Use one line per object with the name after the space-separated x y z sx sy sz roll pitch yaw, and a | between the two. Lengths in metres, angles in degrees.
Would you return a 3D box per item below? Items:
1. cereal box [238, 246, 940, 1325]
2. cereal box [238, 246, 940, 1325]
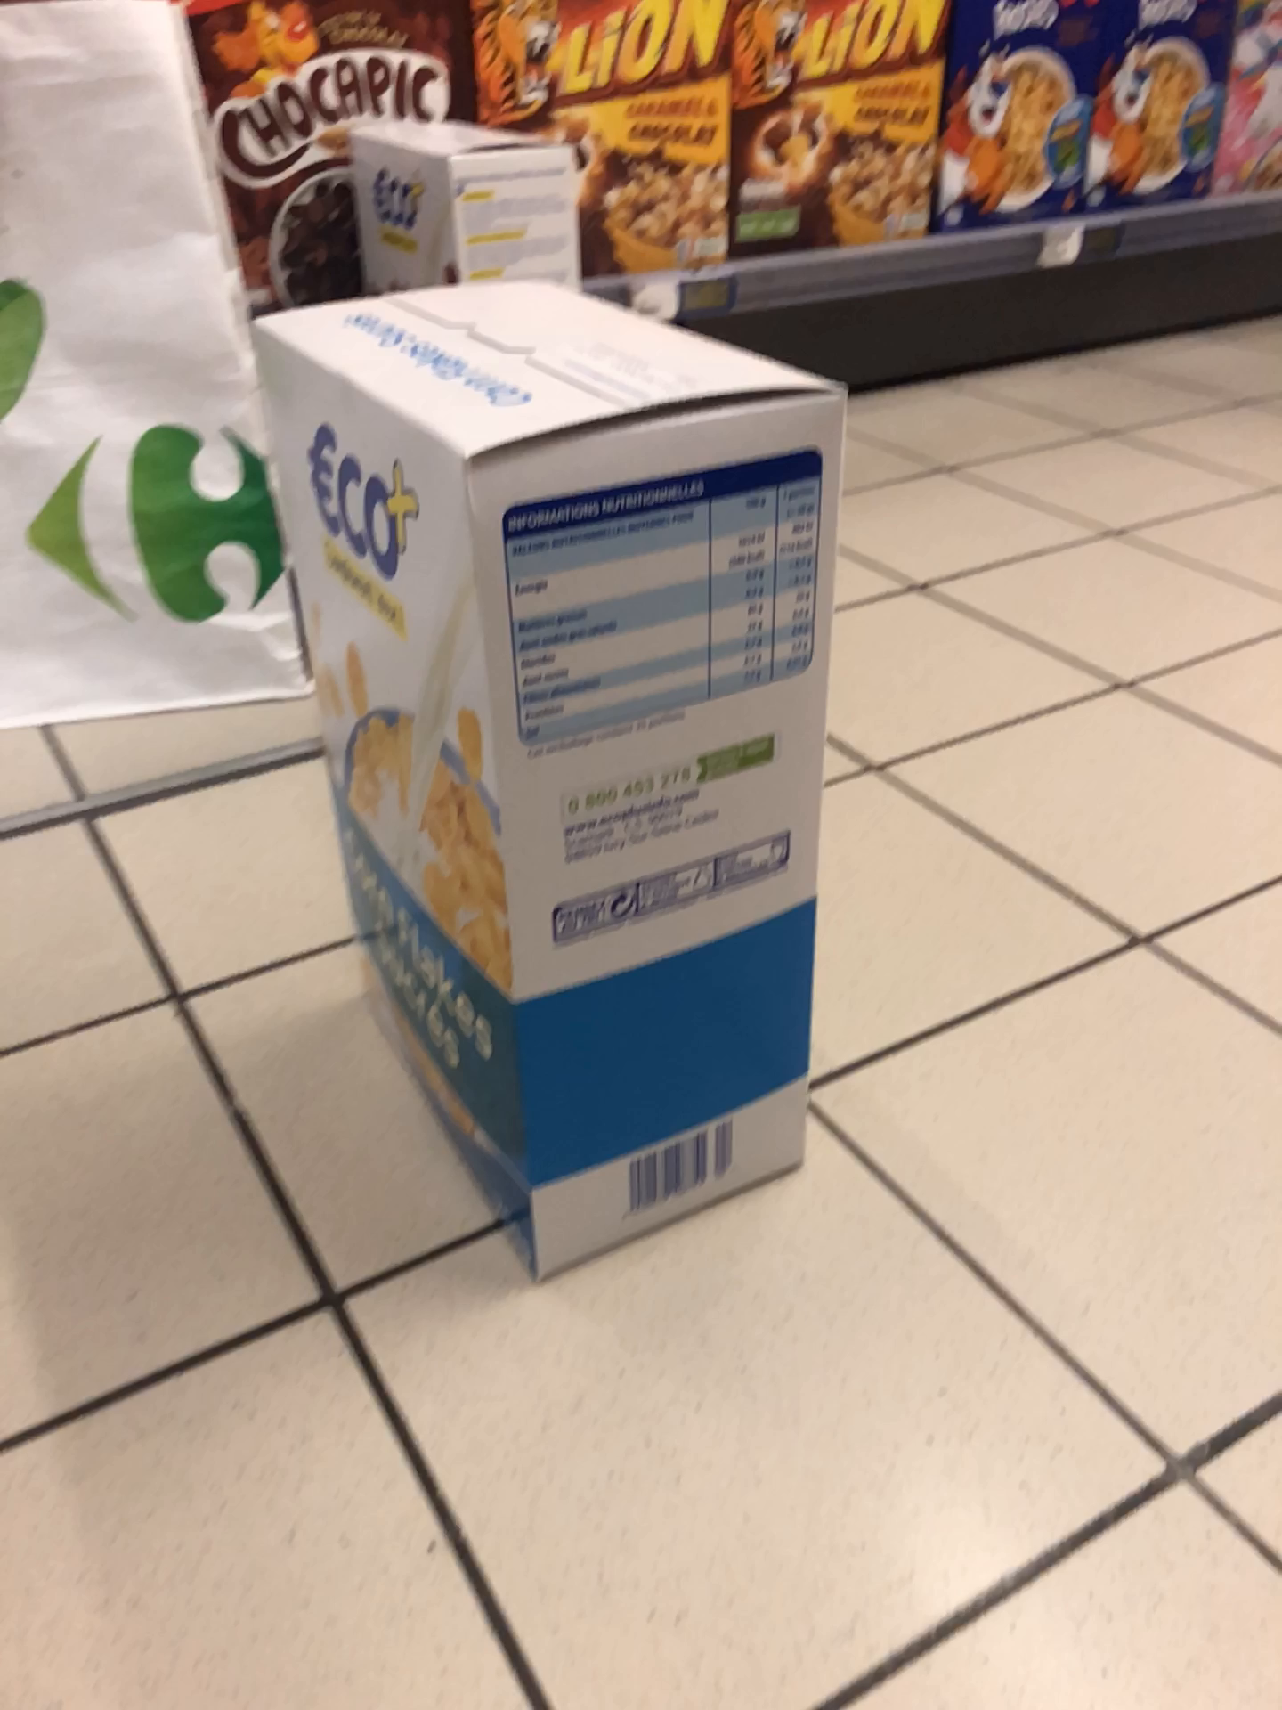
-0.024 -0.035 0.500 0.130 0.298 0.211 -17 35 -23 | cereal box
-0.024 -0.035 0.500 0.130 0.298 0.211 -17 35 -23 | cereal box
